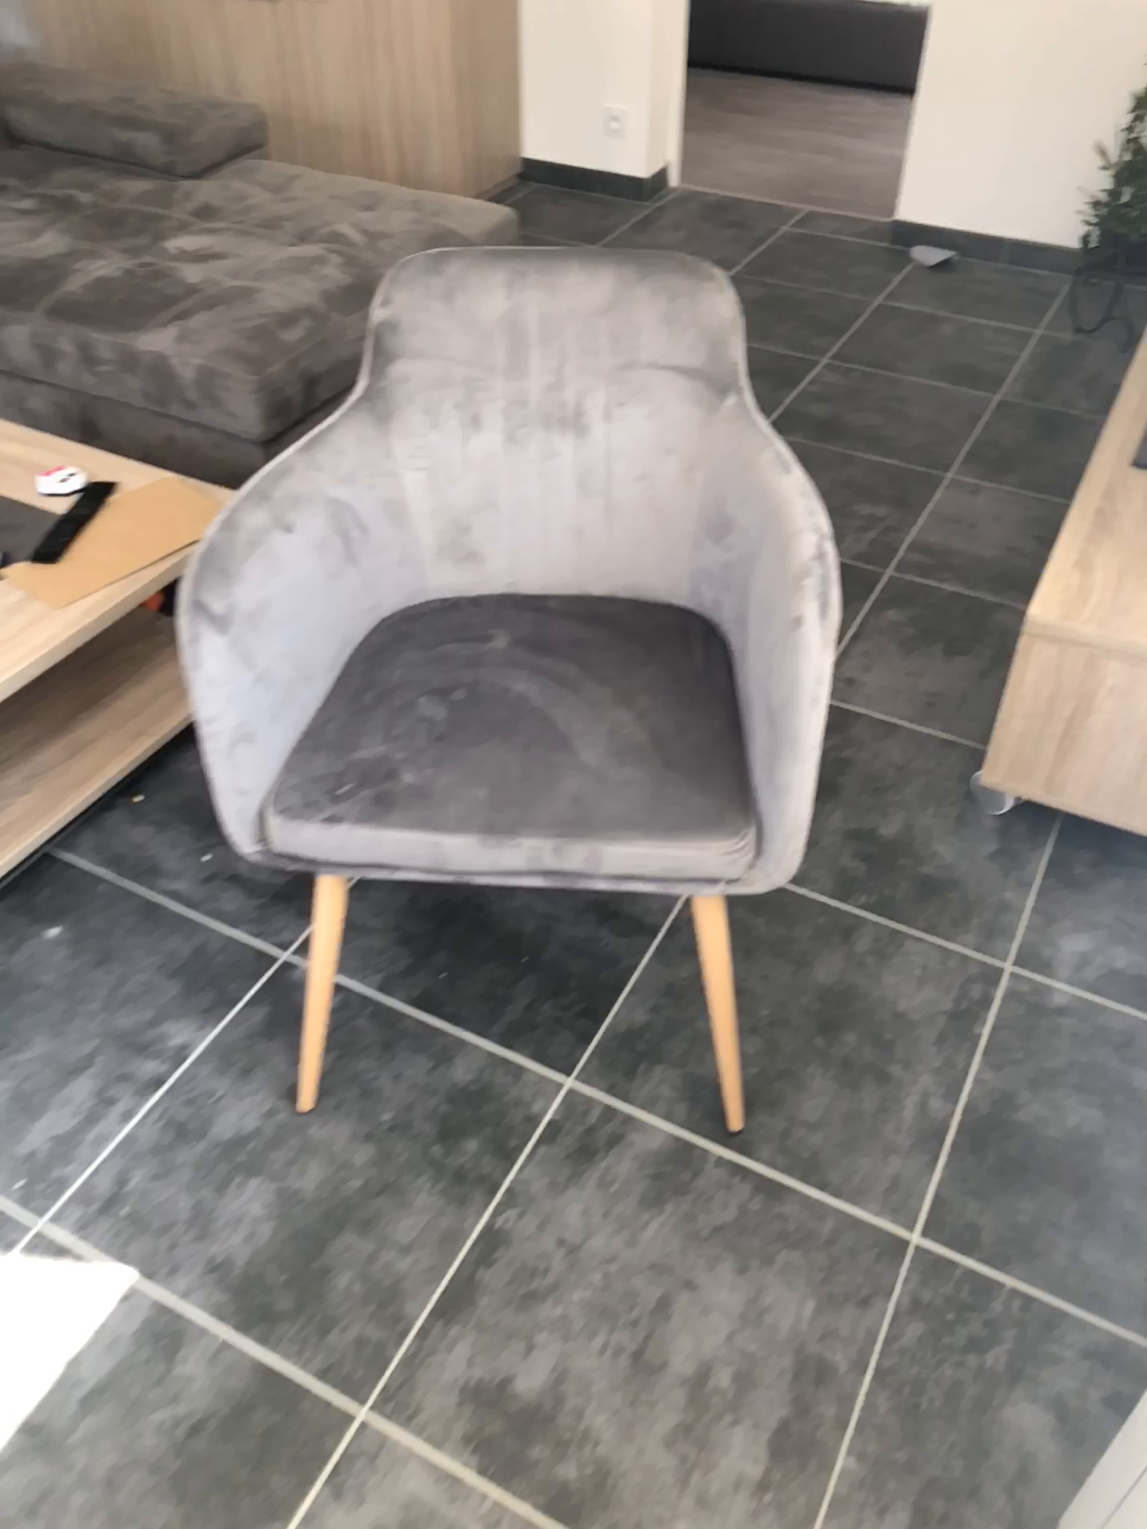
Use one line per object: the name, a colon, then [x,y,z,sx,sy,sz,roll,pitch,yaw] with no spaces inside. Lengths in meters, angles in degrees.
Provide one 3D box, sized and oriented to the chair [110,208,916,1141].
chair: [-0.026,-0.089,1.400,0.590,0.825,0.584,3,41,3]
